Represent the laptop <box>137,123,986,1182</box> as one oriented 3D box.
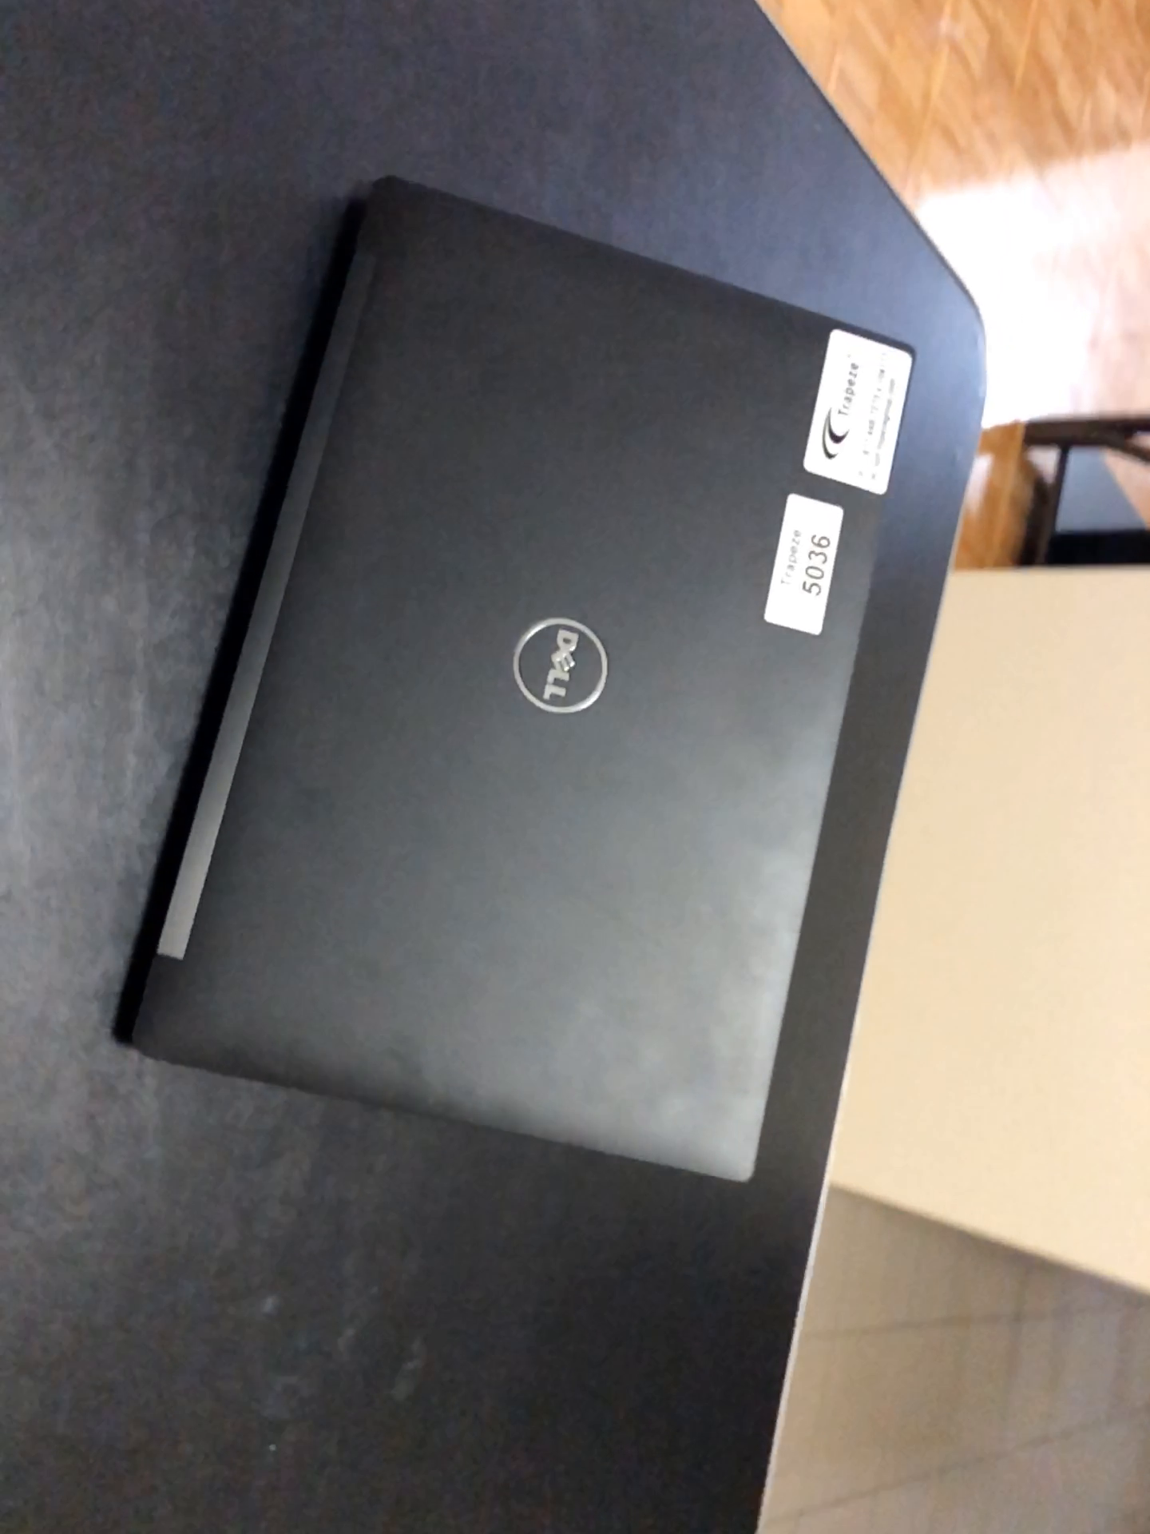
[{"bbox_3d":[0.015,-0.023,0.490,0.221,0.142,0.318,23,77,-47],"label":"laptop"}]
